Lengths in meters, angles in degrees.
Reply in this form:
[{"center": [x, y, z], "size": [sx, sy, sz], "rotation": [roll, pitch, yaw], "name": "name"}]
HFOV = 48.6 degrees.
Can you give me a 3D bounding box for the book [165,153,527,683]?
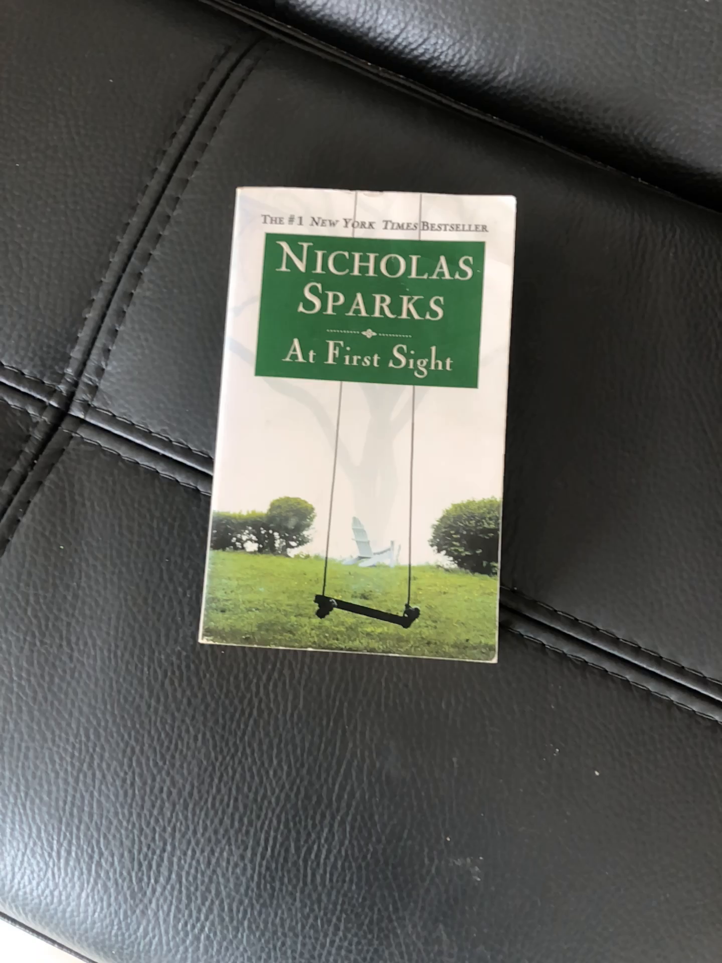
[{"center": [-0.003, -0.025, 0.309], "size": [0.120, 0.030, 0.190], "rotation": [4, 84, 0], "name": "book"}]
